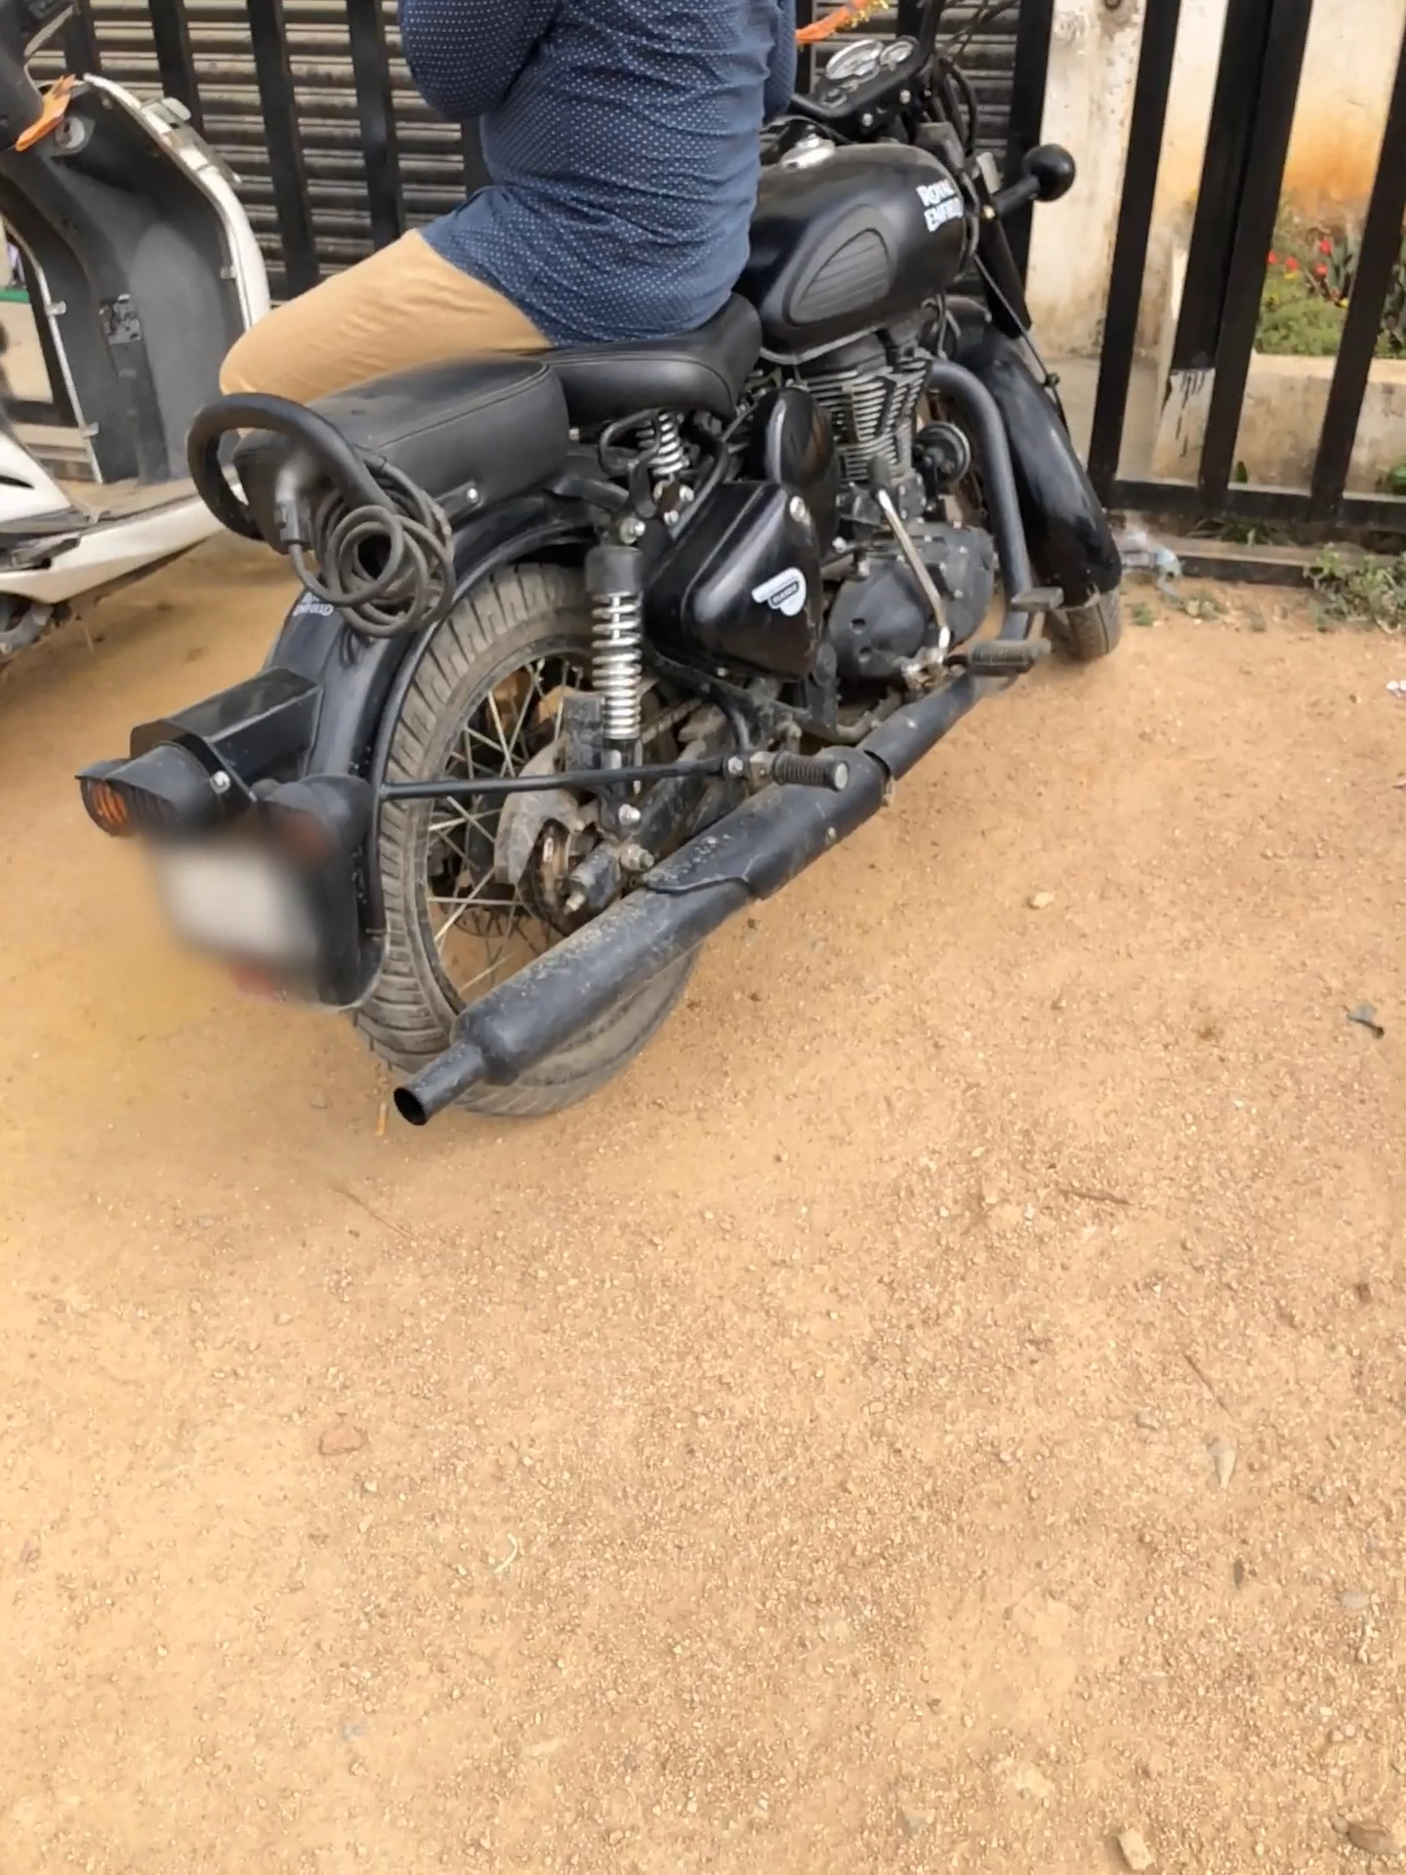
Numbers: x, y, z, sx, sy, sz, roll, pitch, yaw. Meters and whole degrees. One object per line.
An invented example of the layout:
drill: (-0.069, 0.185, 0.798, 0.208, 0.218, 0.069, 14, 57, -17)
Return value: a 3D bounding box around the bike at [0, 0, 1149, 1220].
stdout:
bike: (-0.022, -0.880, 2.078, 0.722, 1.169, 1.817, 14, 42, 21)
